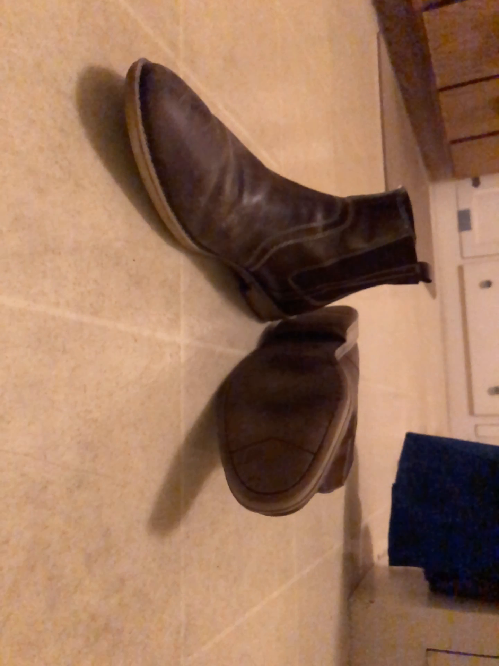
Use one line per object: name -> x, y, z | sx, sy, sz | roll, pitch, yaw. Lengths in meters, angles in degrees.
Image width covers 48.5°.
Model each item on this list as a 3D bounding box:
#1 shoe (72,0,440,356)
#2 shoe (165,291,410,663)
shoe -> 0.042, -0.103, 0.432 | 0.314, 0.160, 0.111 | 48, 43, -53
shoe -> 0.066, 0.094, 0.509 | 0.315, 0.111, 0.161 | -49, 130, -58
